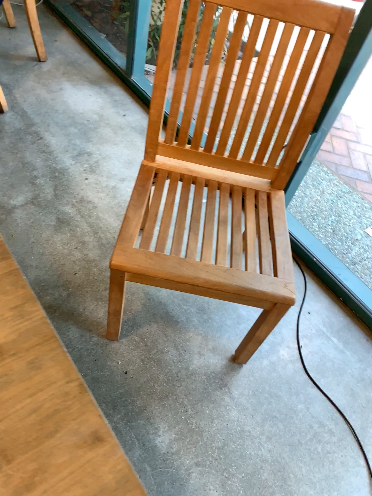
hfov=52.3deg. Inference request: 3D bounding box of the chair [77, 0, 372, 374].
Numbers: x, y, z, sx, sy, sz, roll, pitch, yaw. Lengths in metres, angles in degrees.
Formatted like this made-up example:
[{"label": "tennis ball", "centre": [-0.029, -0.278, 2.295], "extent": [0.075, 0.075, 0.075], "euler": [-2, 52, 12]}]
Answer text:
[{"label": "chair", "centre": [0.062, -0.158, 1.077], "extent": [0.530, 0.916, 0.613], "euler": [12, 50, -4]}]
